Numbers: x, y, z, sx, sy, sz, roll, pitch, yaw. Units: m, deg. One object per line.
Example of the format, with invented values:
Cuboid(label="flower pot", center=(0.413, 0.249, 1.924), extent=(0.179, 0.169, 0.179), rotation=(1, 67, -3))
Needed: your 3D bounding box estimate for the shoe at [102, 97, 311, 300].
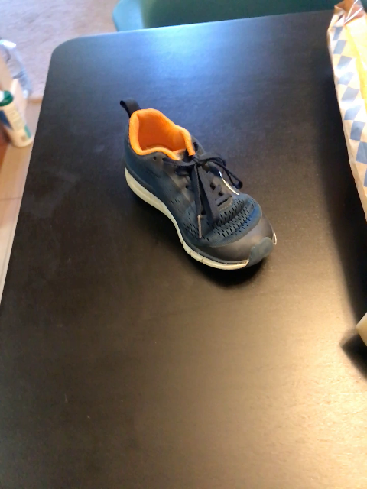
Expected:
Cuboid(label="shoe", center=(0.014, -0.052, 0.383), extent=(0.084, 0.072, 0.187), rotation=(-34, 58, -19))
